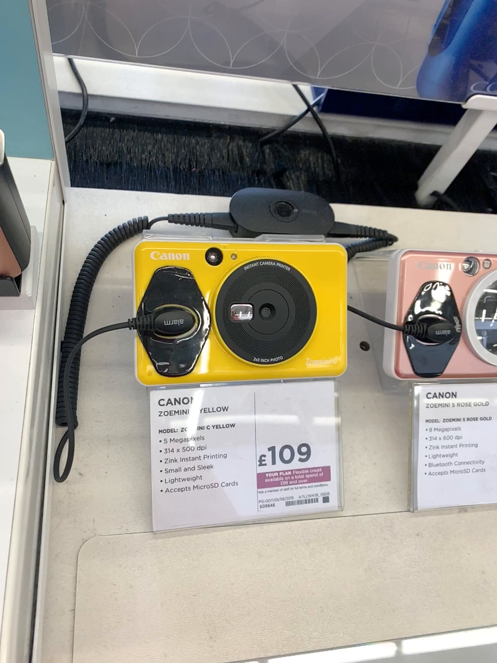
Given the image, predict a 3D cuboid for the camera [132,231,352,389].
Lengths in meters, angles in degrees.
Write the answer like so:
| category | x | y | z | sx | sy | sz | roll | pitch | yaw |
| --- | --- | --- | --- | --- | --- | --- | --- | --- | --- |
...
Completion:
| category | x | y | z | sx | sy | sz | roll | pitch | yaw |
| --- | --- | --- | --- | --- | --- | --- | --- | --- | --- |
| camera | -0.002 | -0.013 | 0.286 | 0.120 | 0.020 | 0.080 | -2 | 94 | -14 |
